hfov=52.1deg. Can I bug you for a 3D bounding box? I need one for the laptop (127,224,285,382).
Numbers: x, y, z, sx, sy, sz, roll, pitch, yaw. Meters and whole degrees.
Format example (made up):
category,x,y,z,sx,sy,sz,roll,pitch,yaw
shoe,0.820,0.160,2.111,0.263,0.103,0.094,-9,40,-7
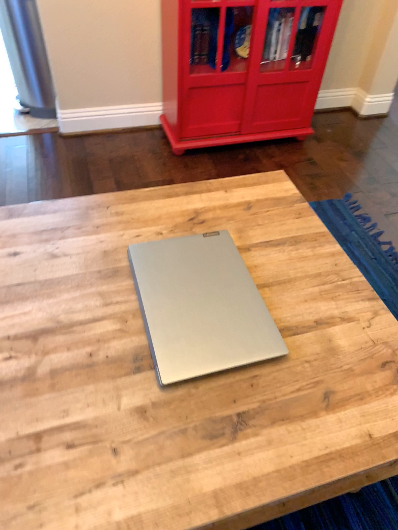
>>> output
category,x,y,z,sx,sy,sz,roll,pitch,yaw
laptop,-0.003,0.054,0.850,0.237,0.011,0.348,-12,49,-12
